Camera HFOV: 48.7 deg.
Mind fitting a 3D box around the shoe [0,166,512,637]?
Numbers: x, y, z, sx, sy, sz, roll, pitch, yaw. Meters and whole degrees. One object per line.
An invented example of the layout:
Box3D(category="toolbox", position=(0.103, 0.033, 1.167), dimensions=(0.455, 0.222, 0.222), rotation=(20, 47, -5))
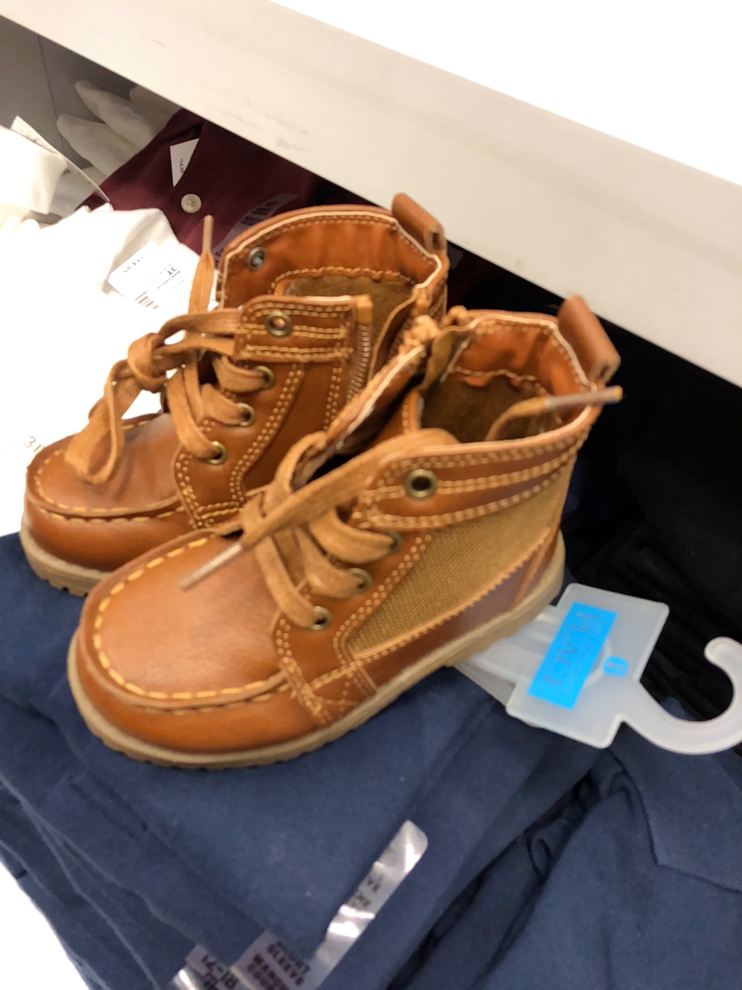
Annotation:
Box3D(category="shoe", position=(-0.048, -0.032, 0.258), dimensions=(0.151, 0.101, 0.080), rotation=(-9, 45, -12))

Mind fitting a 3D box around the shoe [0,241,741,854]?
Box3D(category="shoe", position=(-0.003, 0.012, 0.217), dimensions=(0.161, 0.101, 0.080), rotation=(-15, 57, -17))
